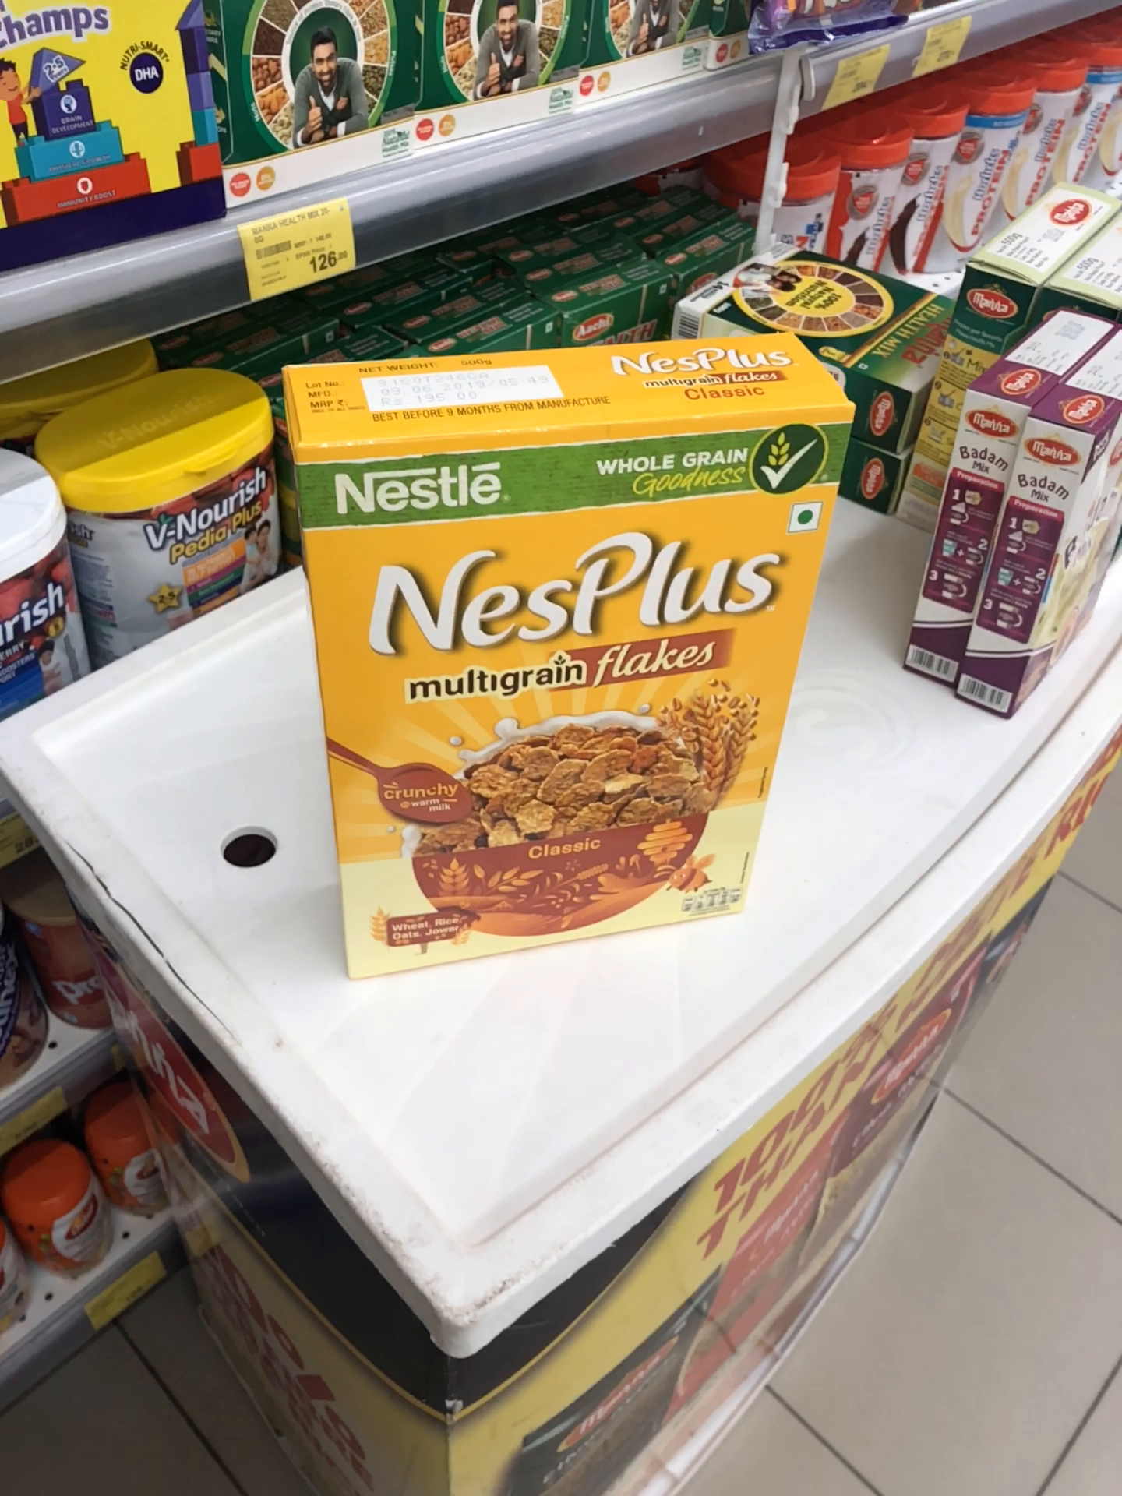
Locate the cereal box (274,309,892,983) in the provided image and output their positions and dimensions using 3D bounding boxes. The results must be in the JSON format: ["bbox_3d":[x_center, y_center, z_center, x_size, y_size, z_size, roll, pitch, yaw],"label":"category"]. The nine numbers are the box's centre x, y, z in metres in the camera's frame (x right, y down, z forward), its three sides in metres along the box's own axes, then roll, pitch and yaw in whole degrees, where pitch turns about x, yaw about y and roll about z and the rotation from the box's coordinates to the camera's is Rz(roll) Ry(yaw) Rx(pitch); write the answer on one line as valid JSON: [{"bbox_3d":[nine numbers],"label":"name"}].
[{"bbox_3d":[0.000,-0.031,0.516,0.200,0.269,0.070,-9,44,-13],"label":"cereal box"}]
